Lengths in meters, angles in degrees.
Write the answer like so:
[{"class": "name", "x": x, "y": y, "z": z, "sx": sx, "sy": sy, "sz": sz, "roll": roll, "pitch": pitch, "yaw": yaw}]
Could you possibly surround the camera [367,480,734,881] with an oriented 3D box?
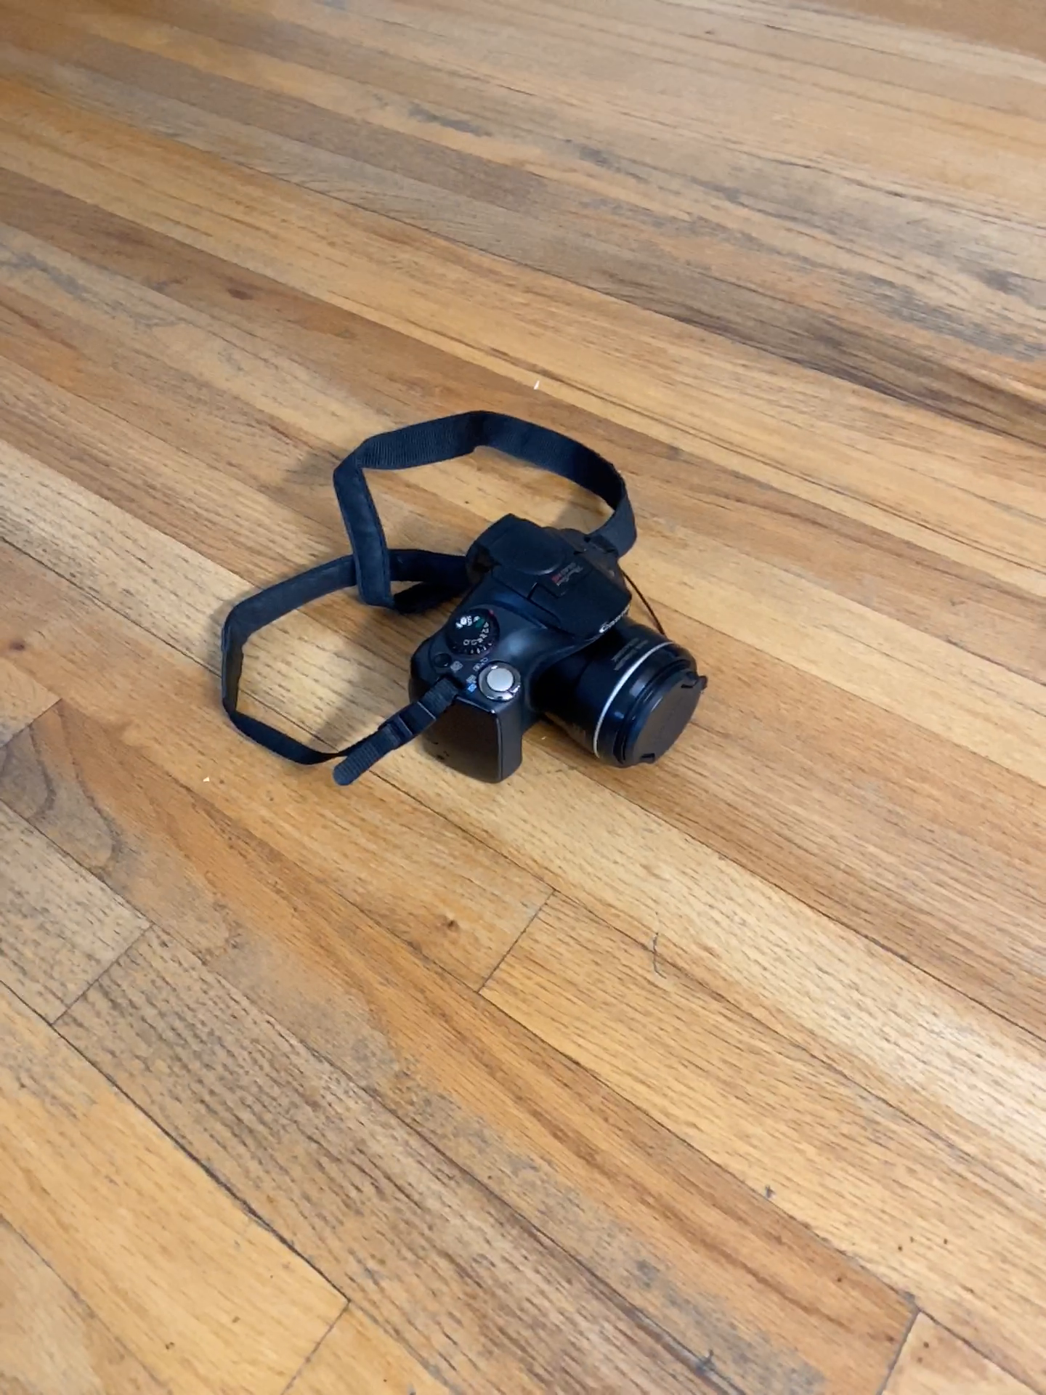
[{"class": "camera", "x": 0.015, "y": -0.009, "z": 0.516, "sx": 0.120, "sy": 0.109, "sz": 0.110, "roll": 31, "pitch": 60, "yaw": 25}]
